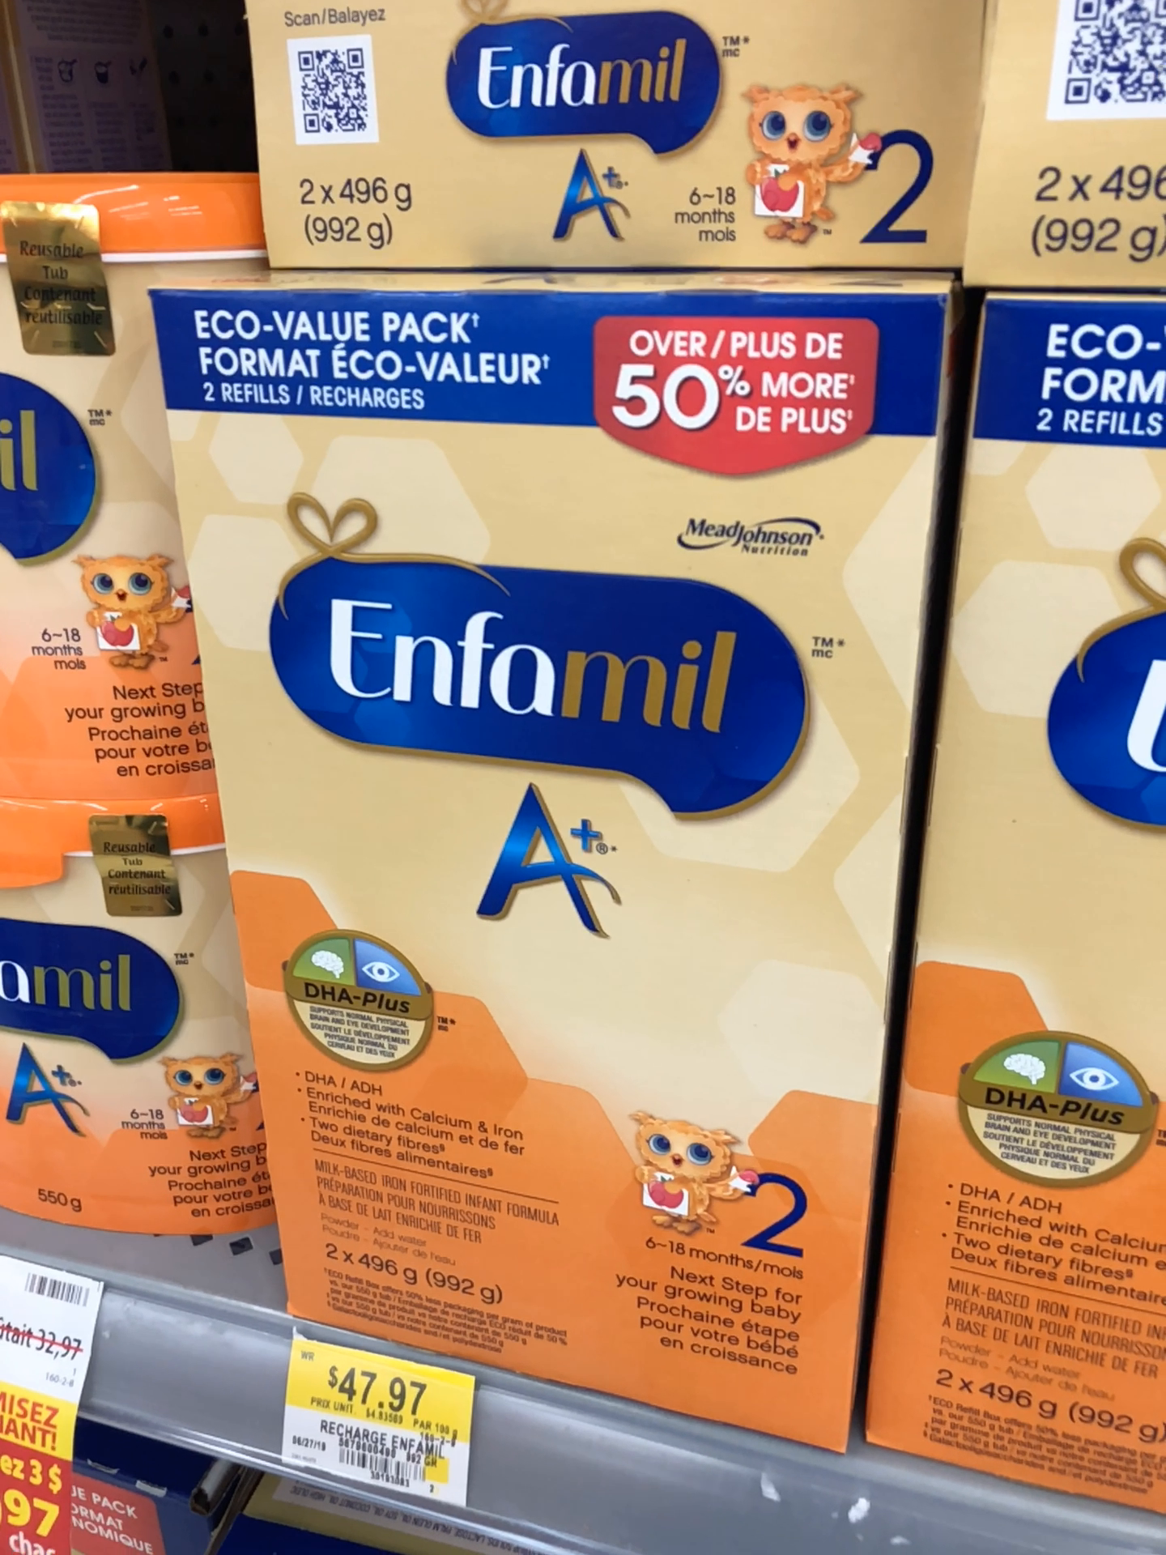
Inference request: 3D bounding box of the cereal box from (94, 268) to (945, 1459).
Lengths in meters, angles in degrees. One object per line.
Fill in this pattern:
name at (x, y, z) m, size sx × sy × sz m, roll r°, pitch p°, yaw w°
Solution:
cereal box at (-0.006, 0.017, 0.289) m, size 0.140 × 0.238 × 0.081 m, roll 6°, pitch 25°, yaw 15°
